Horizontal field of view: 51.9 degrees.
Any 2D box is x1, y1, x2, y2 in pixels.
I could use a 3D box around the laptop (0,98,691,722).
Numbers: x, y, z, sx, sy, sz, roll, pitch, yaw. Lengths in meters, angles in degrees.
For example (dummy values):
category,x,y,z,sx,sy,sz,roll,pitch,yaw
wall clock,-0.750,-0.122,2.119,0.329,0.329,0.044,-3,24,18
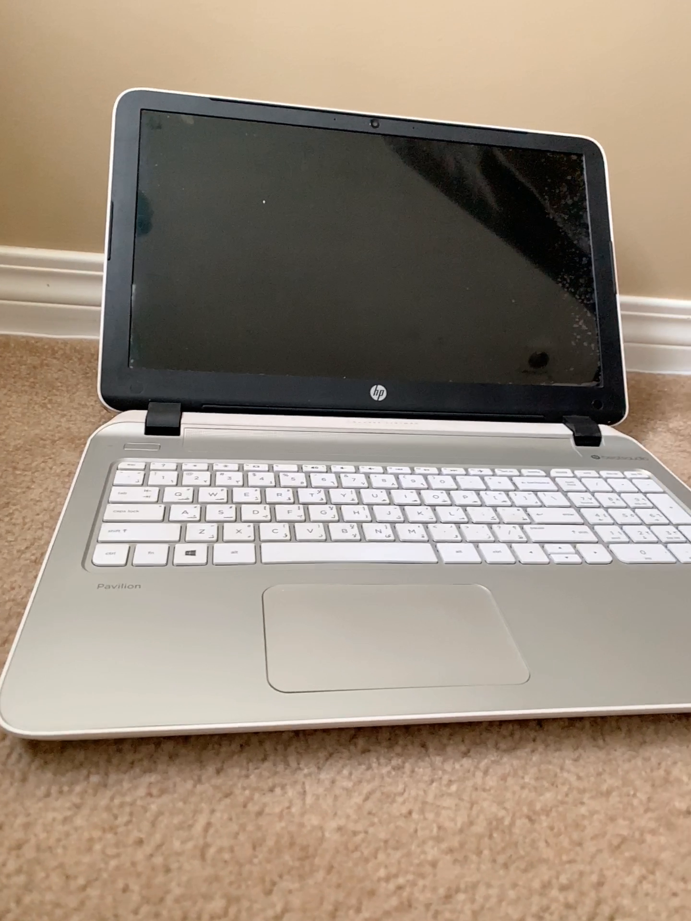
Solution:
category,x,y,z,sx,sy,sz,roll,pitch,yaw
laptop,0.042,-0.071,0.387,0.349,0.187,0.351,1,28,-9
